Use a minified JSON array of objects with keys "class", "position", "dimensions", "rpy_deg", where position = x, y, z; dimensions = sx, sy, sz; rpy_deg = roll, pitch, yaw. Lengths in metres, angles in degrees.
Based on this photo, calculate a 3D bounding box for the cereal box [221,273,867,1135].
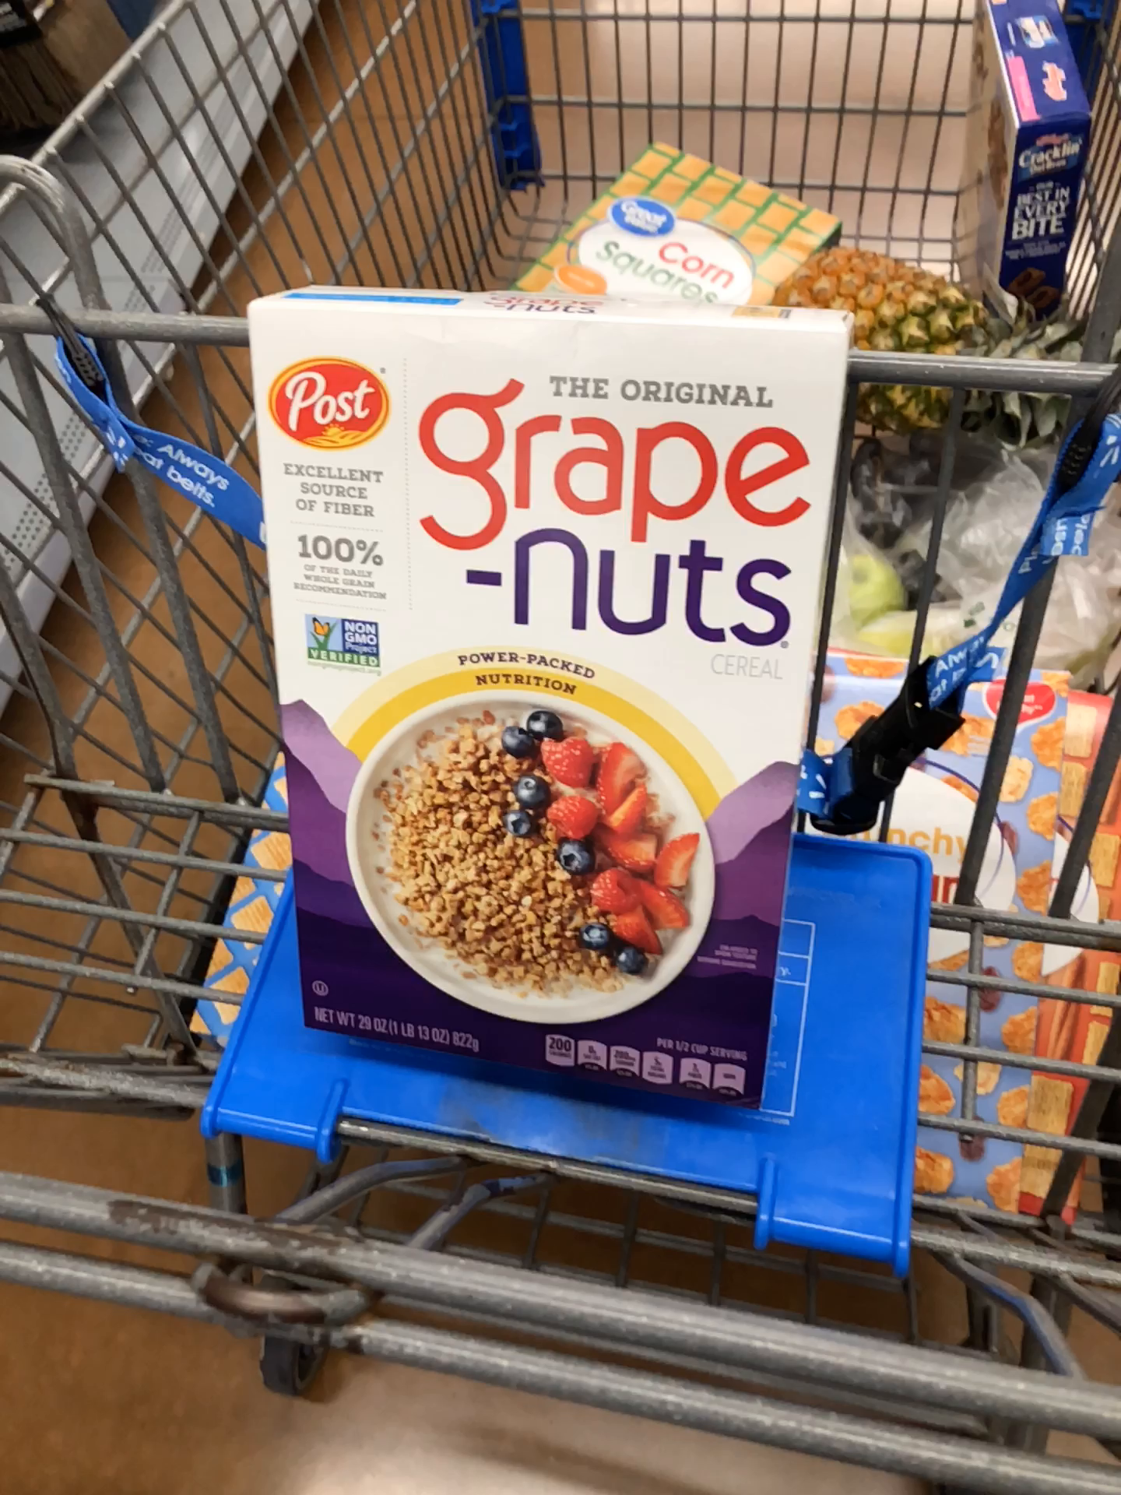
[{"class":"cereal box","position":[-0.008,-0.010,0.388],"dimensions":[0.170,0.250,0.050],"rpy_deg":[7,24,12]}]
